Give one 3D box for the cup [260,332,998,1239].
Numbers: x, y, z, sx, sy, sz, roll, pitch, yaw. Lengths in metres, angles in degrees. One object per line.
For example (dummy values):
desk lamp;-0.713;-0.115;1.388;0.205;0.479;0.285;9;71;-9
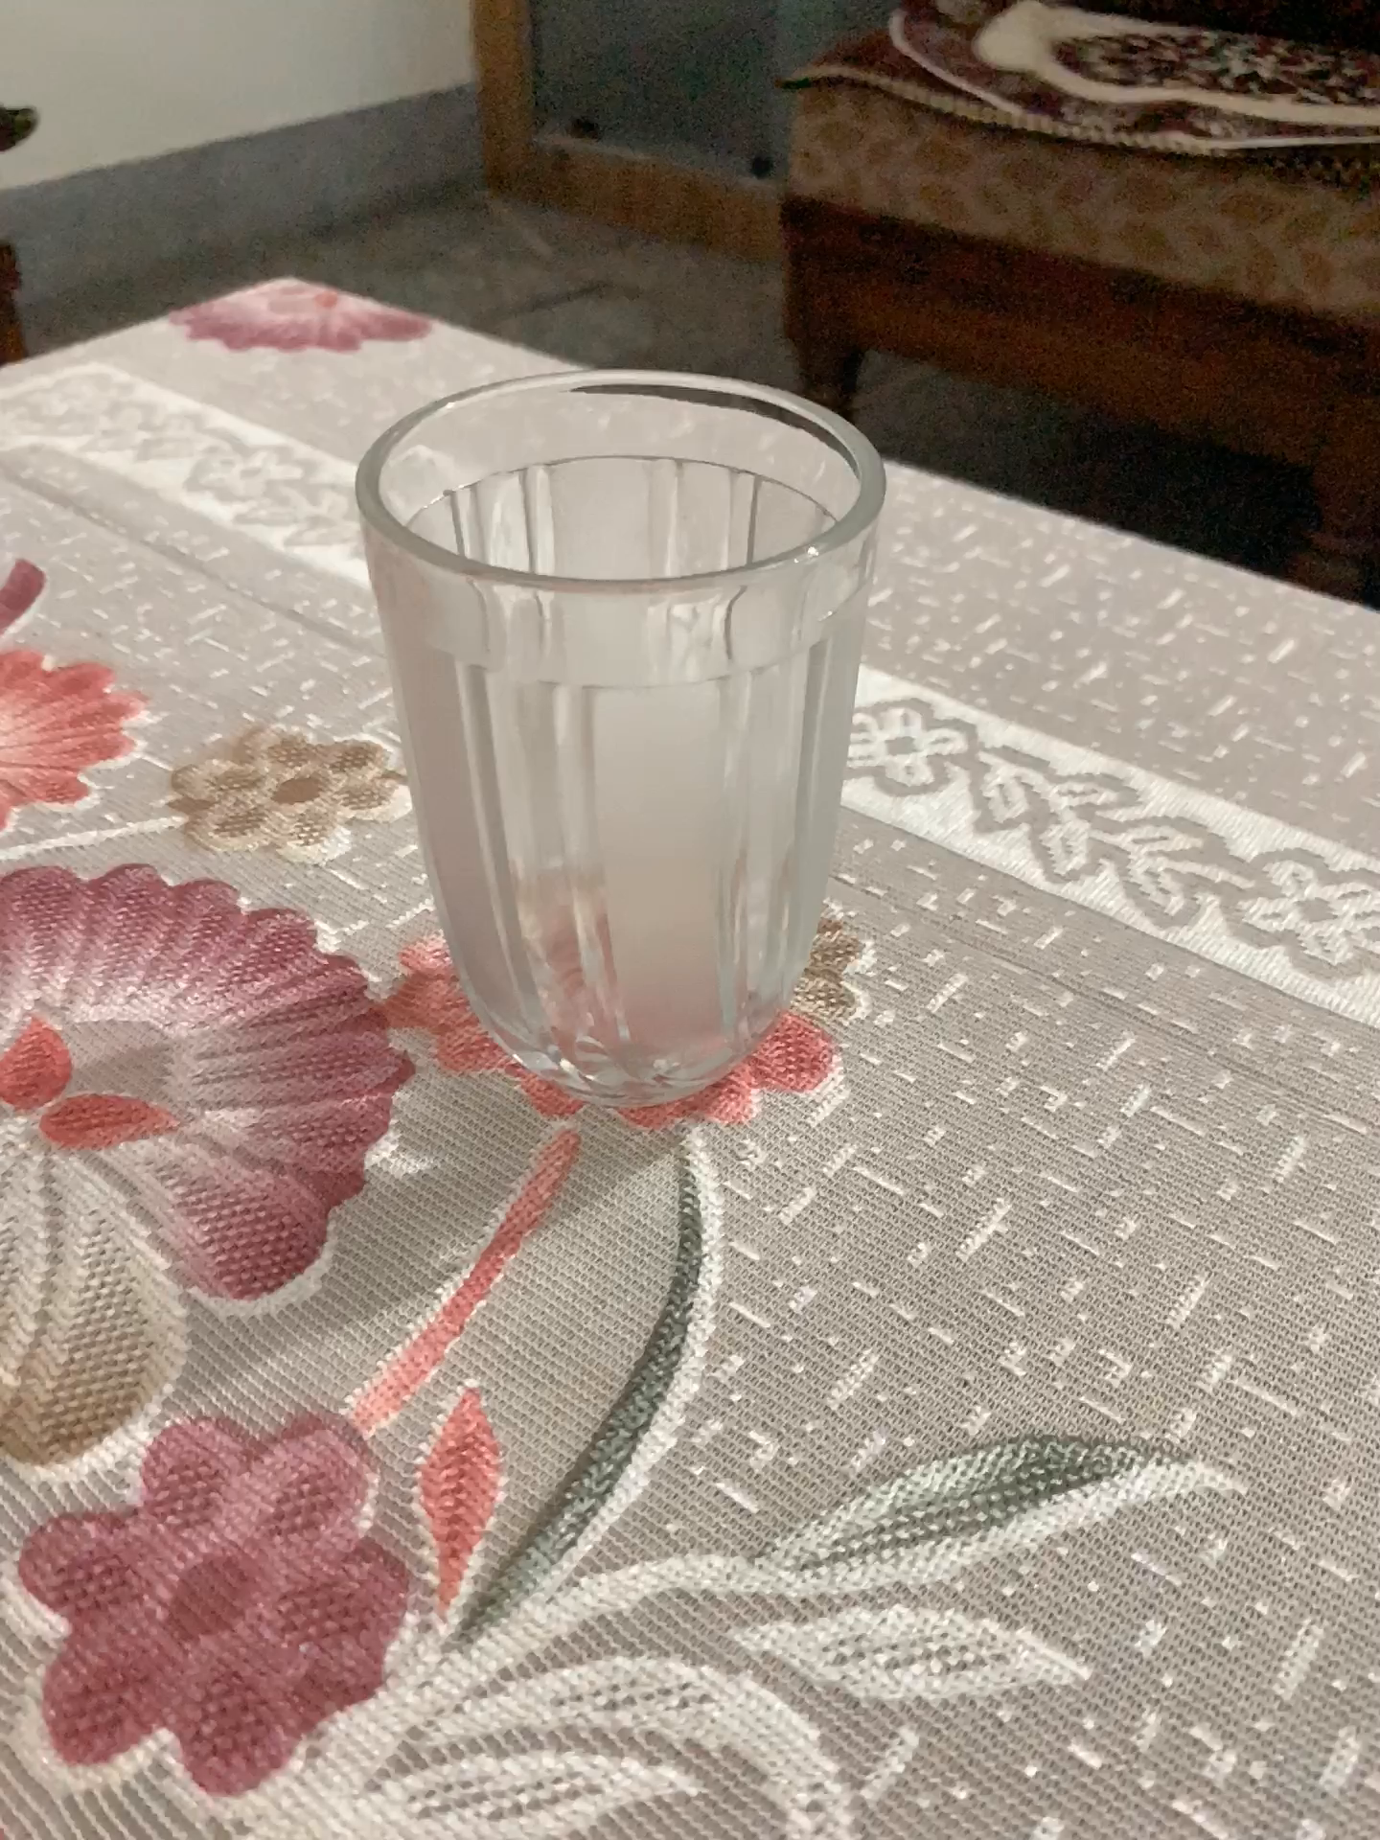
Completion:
cup;-0.011;-0.022;0.217;0.070;0.100;0.070;1;40;-1
